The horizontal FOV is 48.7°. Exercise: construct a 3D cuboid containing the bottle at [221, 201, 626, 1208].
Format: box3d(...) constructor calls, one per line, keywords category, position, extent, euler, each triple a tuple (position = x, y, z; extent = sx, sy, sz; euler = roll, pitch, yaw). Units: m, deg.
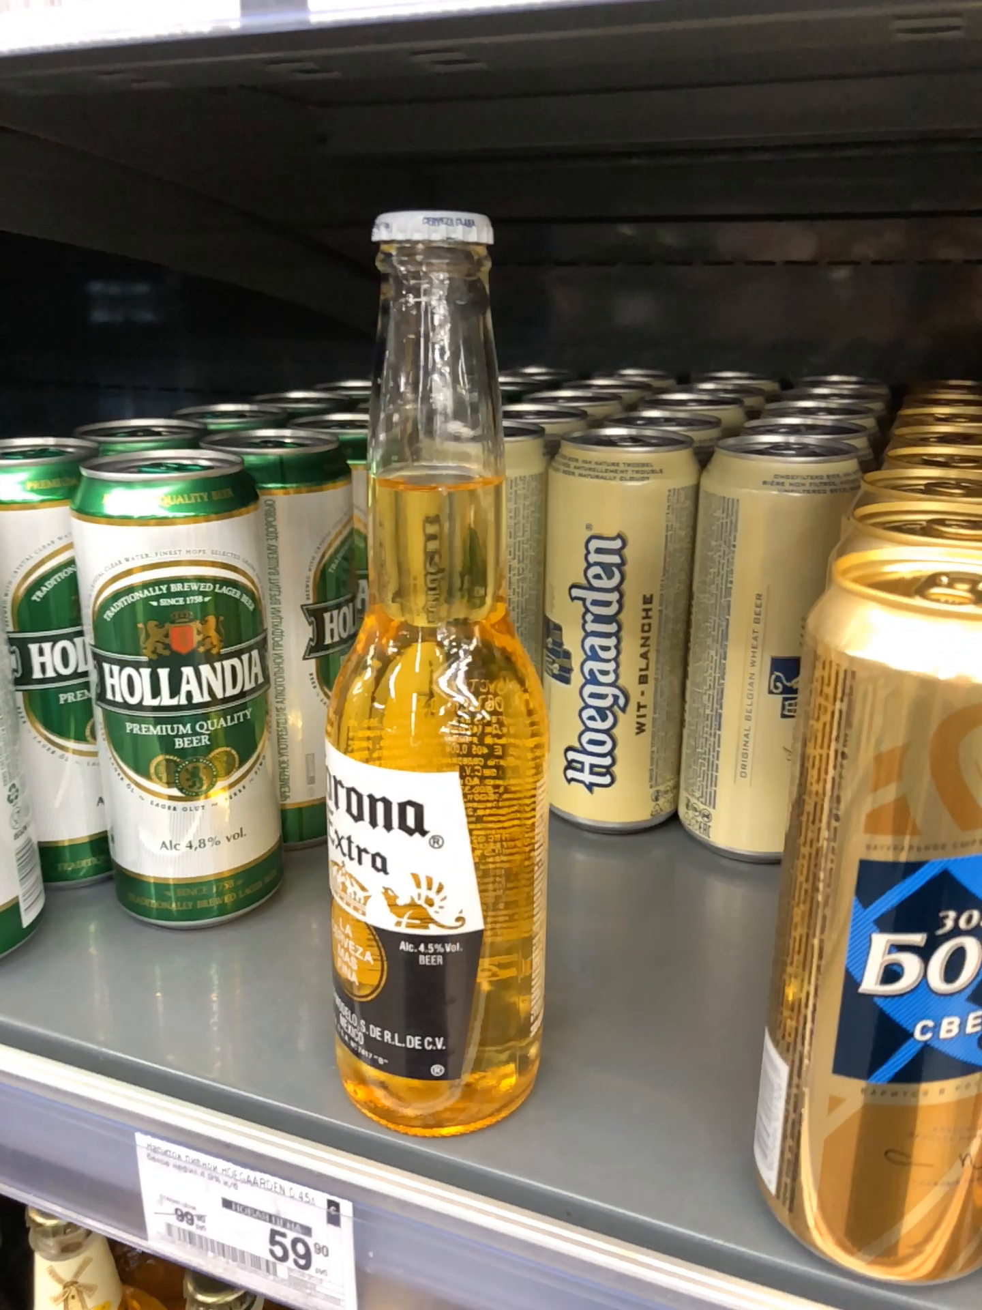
box3d(category="bottle", position=(-0.016, 0.013, 0.282), extent=(0.060, 0.237, 0.070), euler=(-16, 25, -40))
